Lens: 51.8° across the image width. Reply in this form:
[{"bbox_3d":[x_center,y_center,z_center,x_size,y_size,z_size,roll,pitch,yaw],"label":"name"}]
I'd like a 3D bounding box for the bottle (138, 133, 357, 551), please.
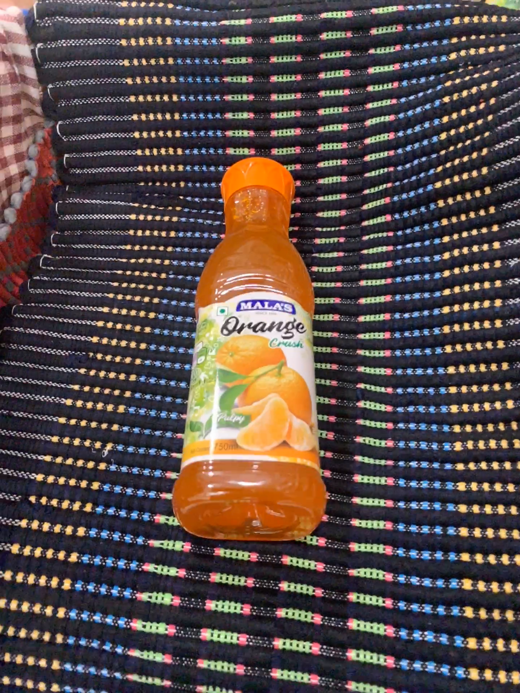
[{"bbox_3d":[-0.001,-0.015,0.293,0.080,0.080,0.221,3,54,0],"label":"bottle"}]
